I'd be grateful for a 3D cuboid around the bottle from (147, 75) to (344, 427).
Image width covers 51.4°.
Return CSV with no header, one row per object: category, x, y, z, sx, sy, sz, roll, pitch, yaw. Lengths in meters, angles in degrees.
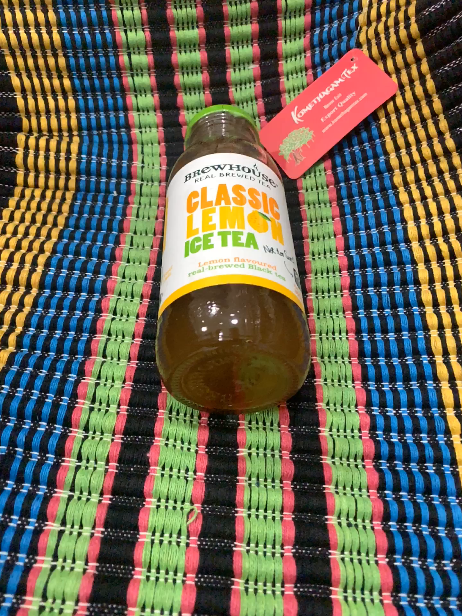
bottle,-0.002,-0.040,0.222,0.060,0.050,0.181,0,50,-5
